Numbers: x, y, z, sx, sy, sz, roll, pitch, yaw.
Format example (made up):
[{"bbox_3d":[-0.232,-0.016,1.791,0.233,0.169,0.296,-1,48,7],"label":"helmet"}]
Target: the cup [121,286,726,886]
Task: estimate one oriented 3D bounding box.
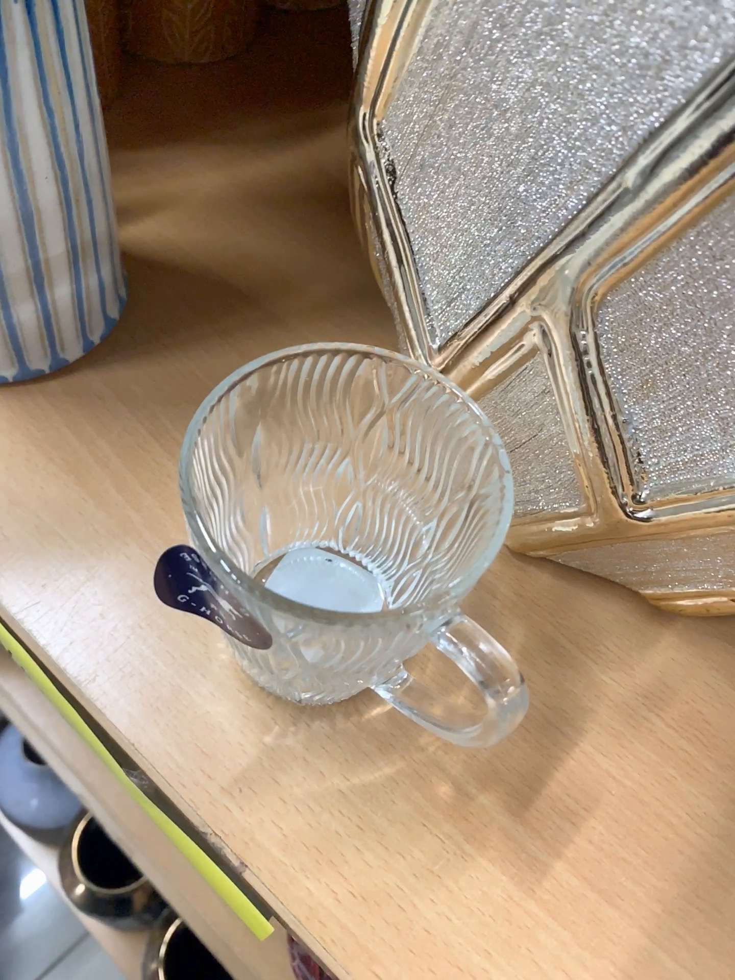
[{"bbox_3d":[0.007,0.021,0.179,0.100,0.070,0.070,40,58,15],"label":"cup"}]
